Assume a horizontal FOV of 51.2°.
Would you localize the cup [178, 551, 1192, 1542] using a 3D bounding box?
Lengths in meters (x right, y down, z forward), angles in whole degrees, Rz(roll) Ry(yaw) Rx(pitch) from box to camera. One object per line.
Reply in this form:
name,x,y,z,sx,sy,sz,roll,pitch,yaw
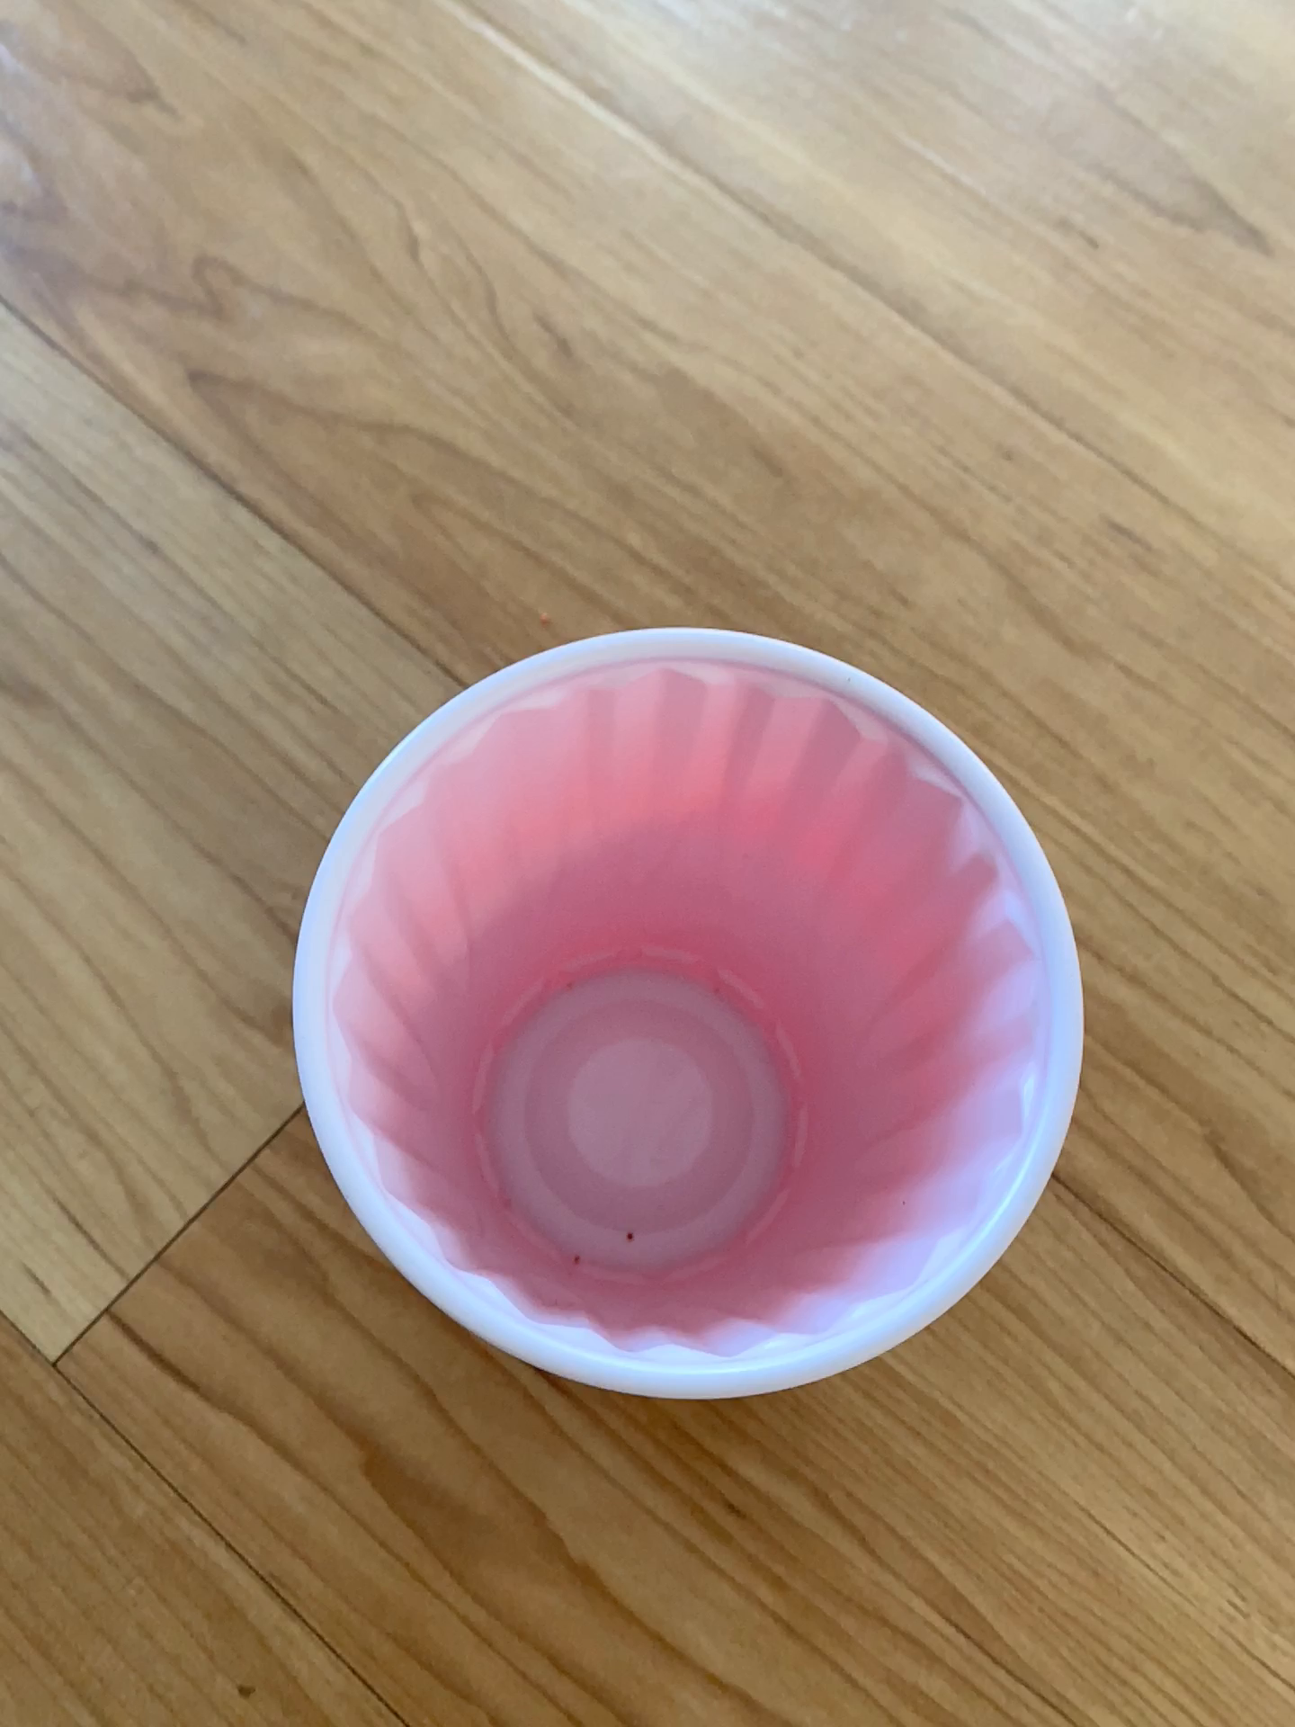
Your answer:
cup,-0.002,0.029,0.202,0.100,0.090,0.100,1,70,-3
